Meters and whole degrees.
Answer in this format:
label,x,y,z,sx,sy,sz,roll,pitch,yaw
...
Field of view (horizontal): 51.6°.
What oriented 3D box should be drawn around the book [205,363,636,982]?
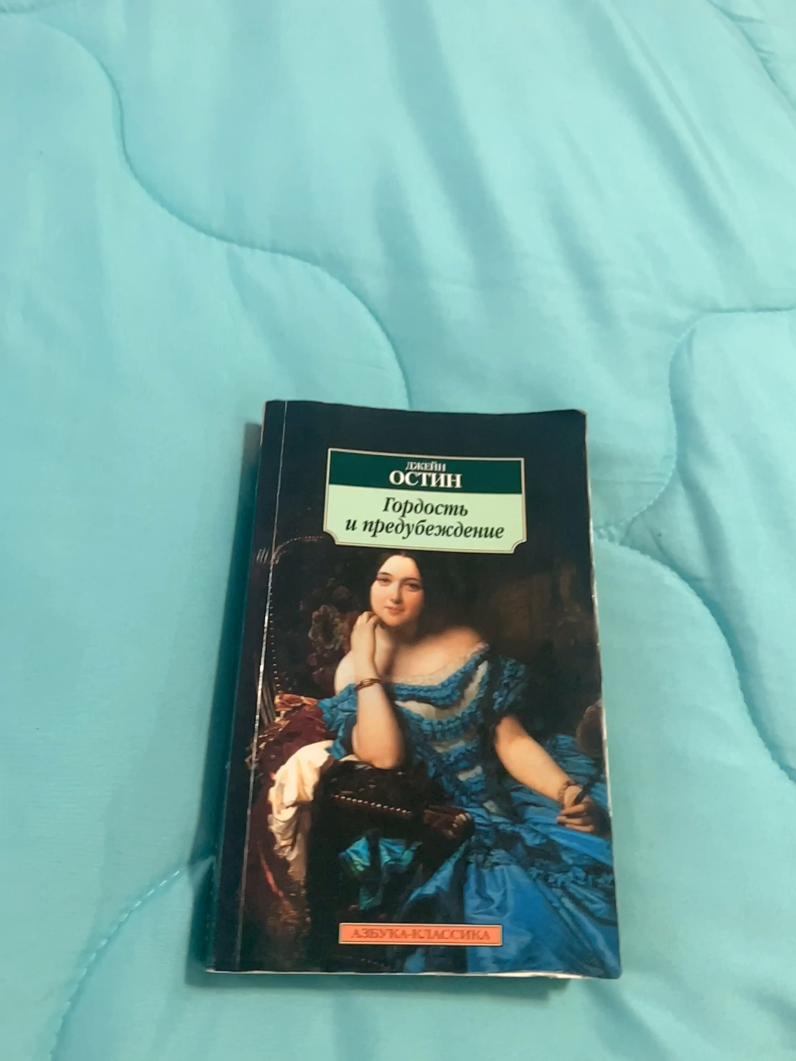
label,x,y,z,sx,sy,sz,roll,pitch,yaw
book,0.006,0.040,0.258,0.110,0.044,0.173,6,67,-11
